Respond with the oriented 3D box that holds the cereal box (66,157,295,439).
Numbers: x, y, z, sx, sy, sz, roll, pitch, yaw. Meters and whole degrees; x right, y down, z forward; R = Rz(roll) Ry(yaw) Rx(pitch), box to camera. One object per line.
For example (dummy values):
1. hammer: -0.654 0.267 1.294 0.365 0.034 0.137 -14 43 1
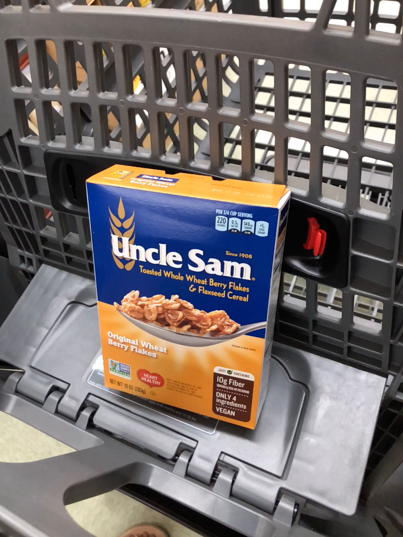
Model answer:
1. cereal box: -0.018 0.026 0.374 0.160 0.210 0.050 11 29 18
